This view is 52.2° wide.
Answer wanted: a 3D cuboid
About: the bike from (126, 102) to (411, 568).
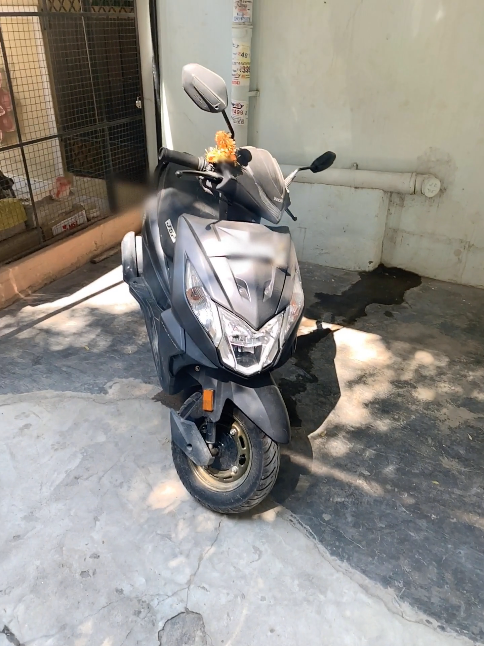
[{"bbox_3d":[-0.073,-0.101,2.114,0.502,1.277,1.516,-8,34,-17],"label":"bike"}]
